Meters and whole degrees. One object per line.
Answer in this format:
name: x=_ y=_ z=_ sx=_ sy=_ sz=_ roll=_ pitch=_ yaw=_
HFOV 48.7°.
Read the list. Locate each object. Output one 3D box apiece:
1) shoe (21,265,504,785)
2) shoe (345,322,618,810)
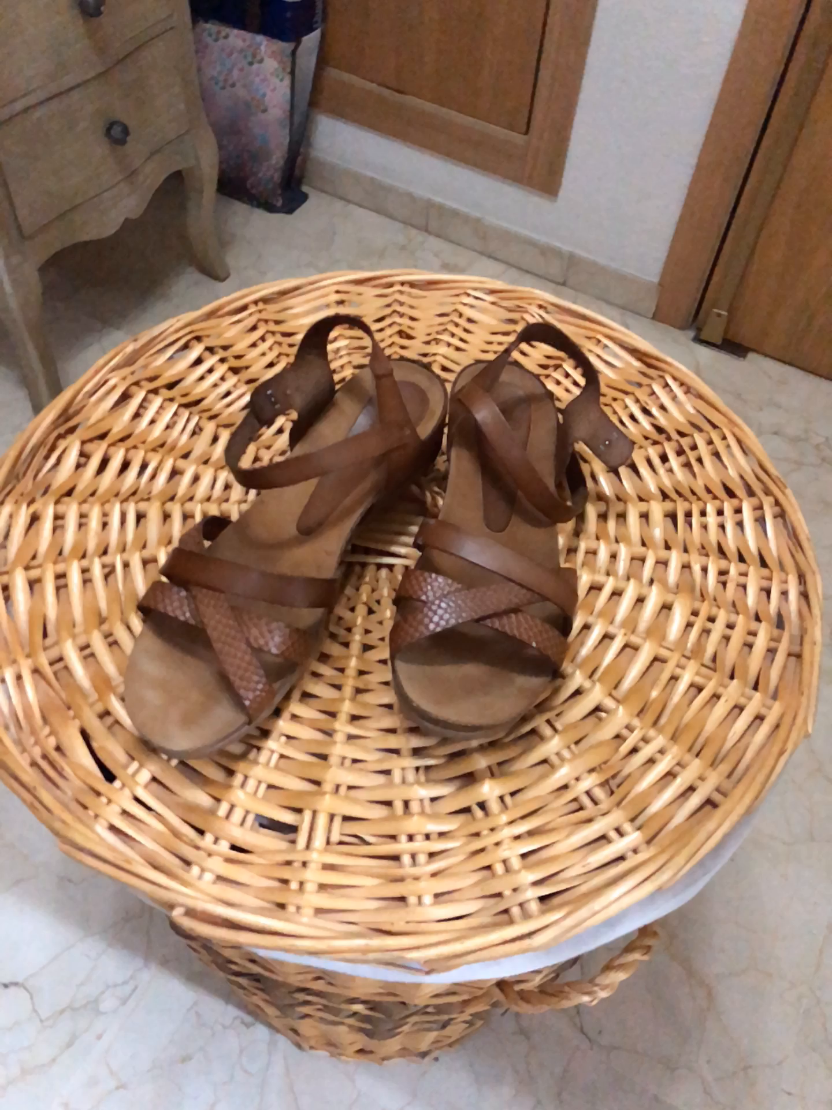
shoe: x=-0.066 y=-0.029 z=0.500 sx=0.100 sy=0.070 sz=0.281 roll=27 pitch=63 yaw=16
shoe: x=0.046 y=-0.012 z=0.511 sx=0.100 sy=0.060 sz=0.281 roll=12 pitch=51 yaw=5
